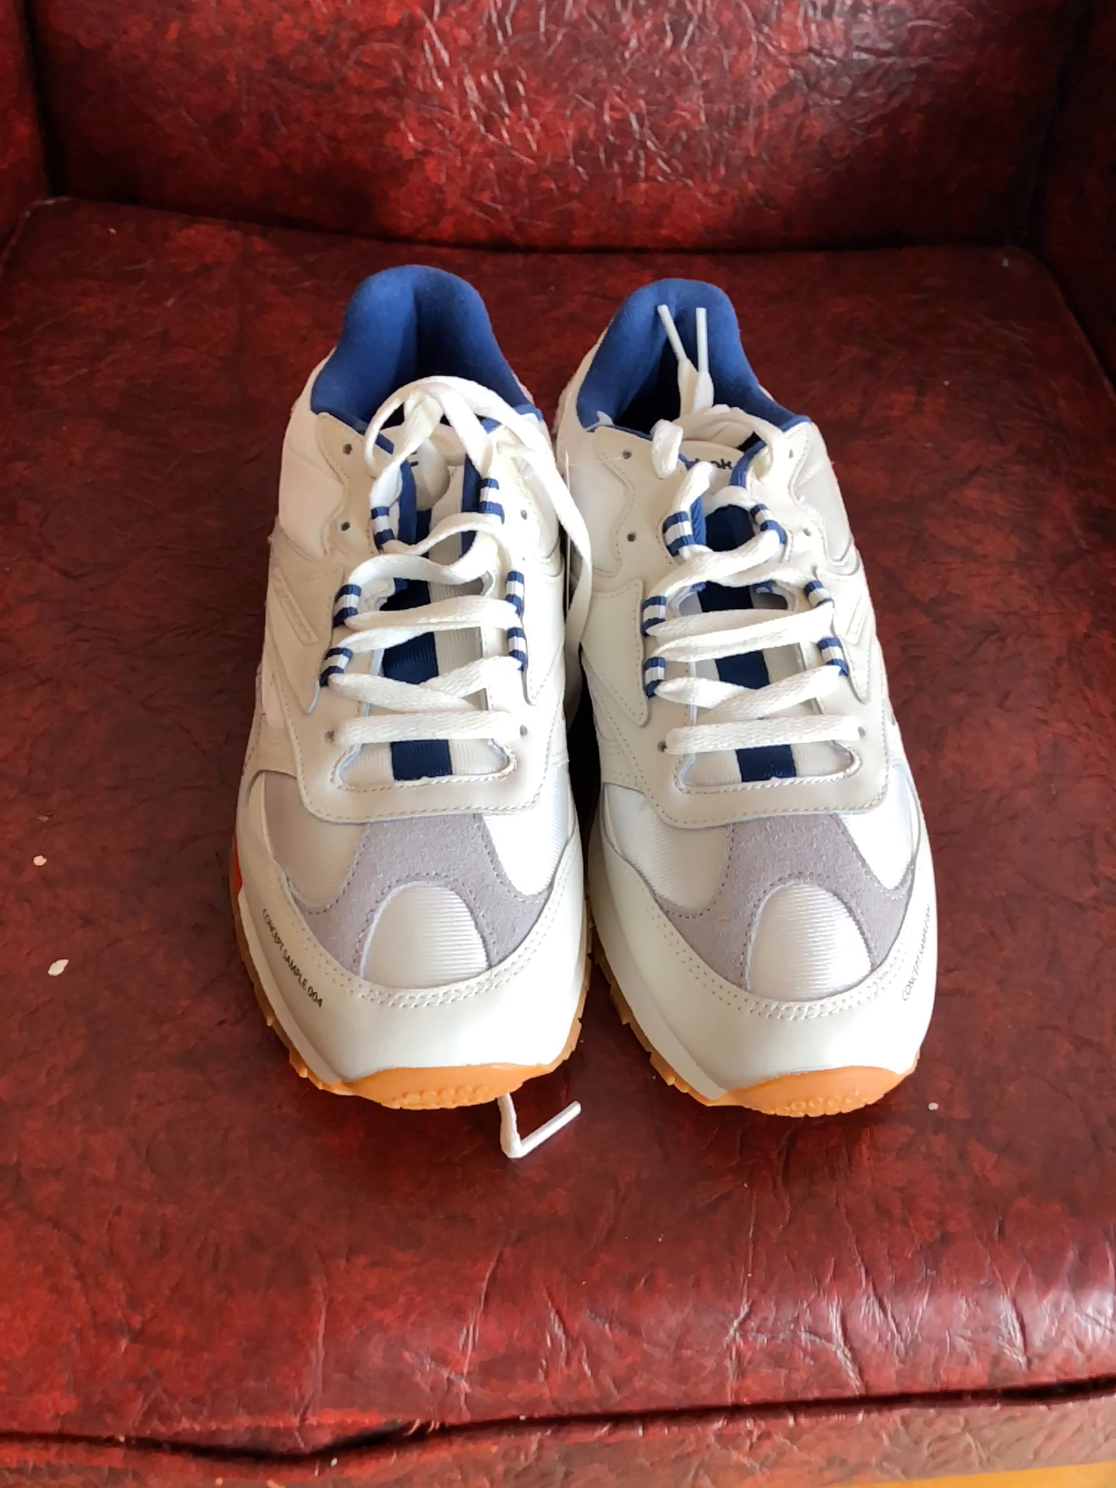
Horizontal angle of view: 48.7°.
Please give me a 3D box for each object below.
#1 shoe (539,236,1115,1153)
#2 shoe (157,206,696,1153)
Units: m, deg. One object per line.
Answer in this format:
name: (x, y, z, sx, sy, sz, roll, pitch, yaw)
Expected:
shoe: (0.066, -0.029, 0.381, 0.110, 0.099, 0.272, -2, 57, -8)
shoe: (-0.044, -0.034, 0.368, 0.110, 0.099, 0.272, -2, 57, -8)
